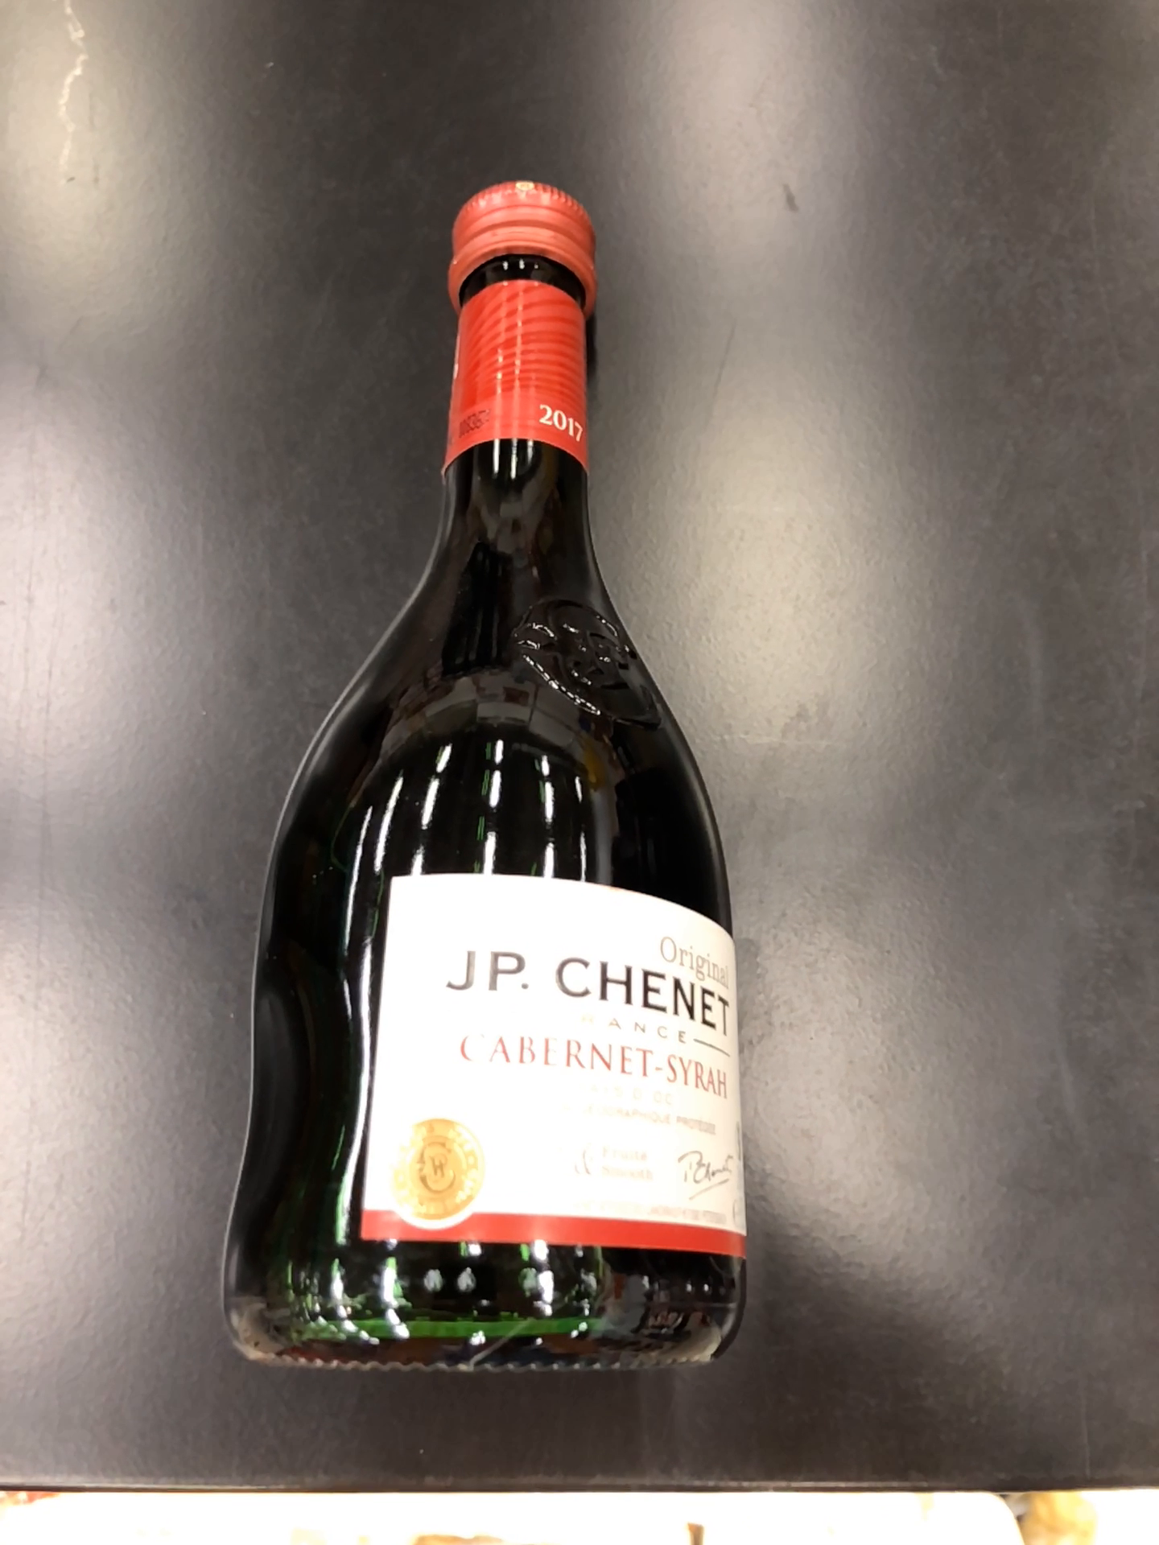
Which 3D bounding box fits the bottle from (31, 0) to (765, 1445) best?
[{"bbox_3d":[-0.015,-0.023,0.182,0.070,0.060,0.200,-1,71,5],"label":"bottle"}]
